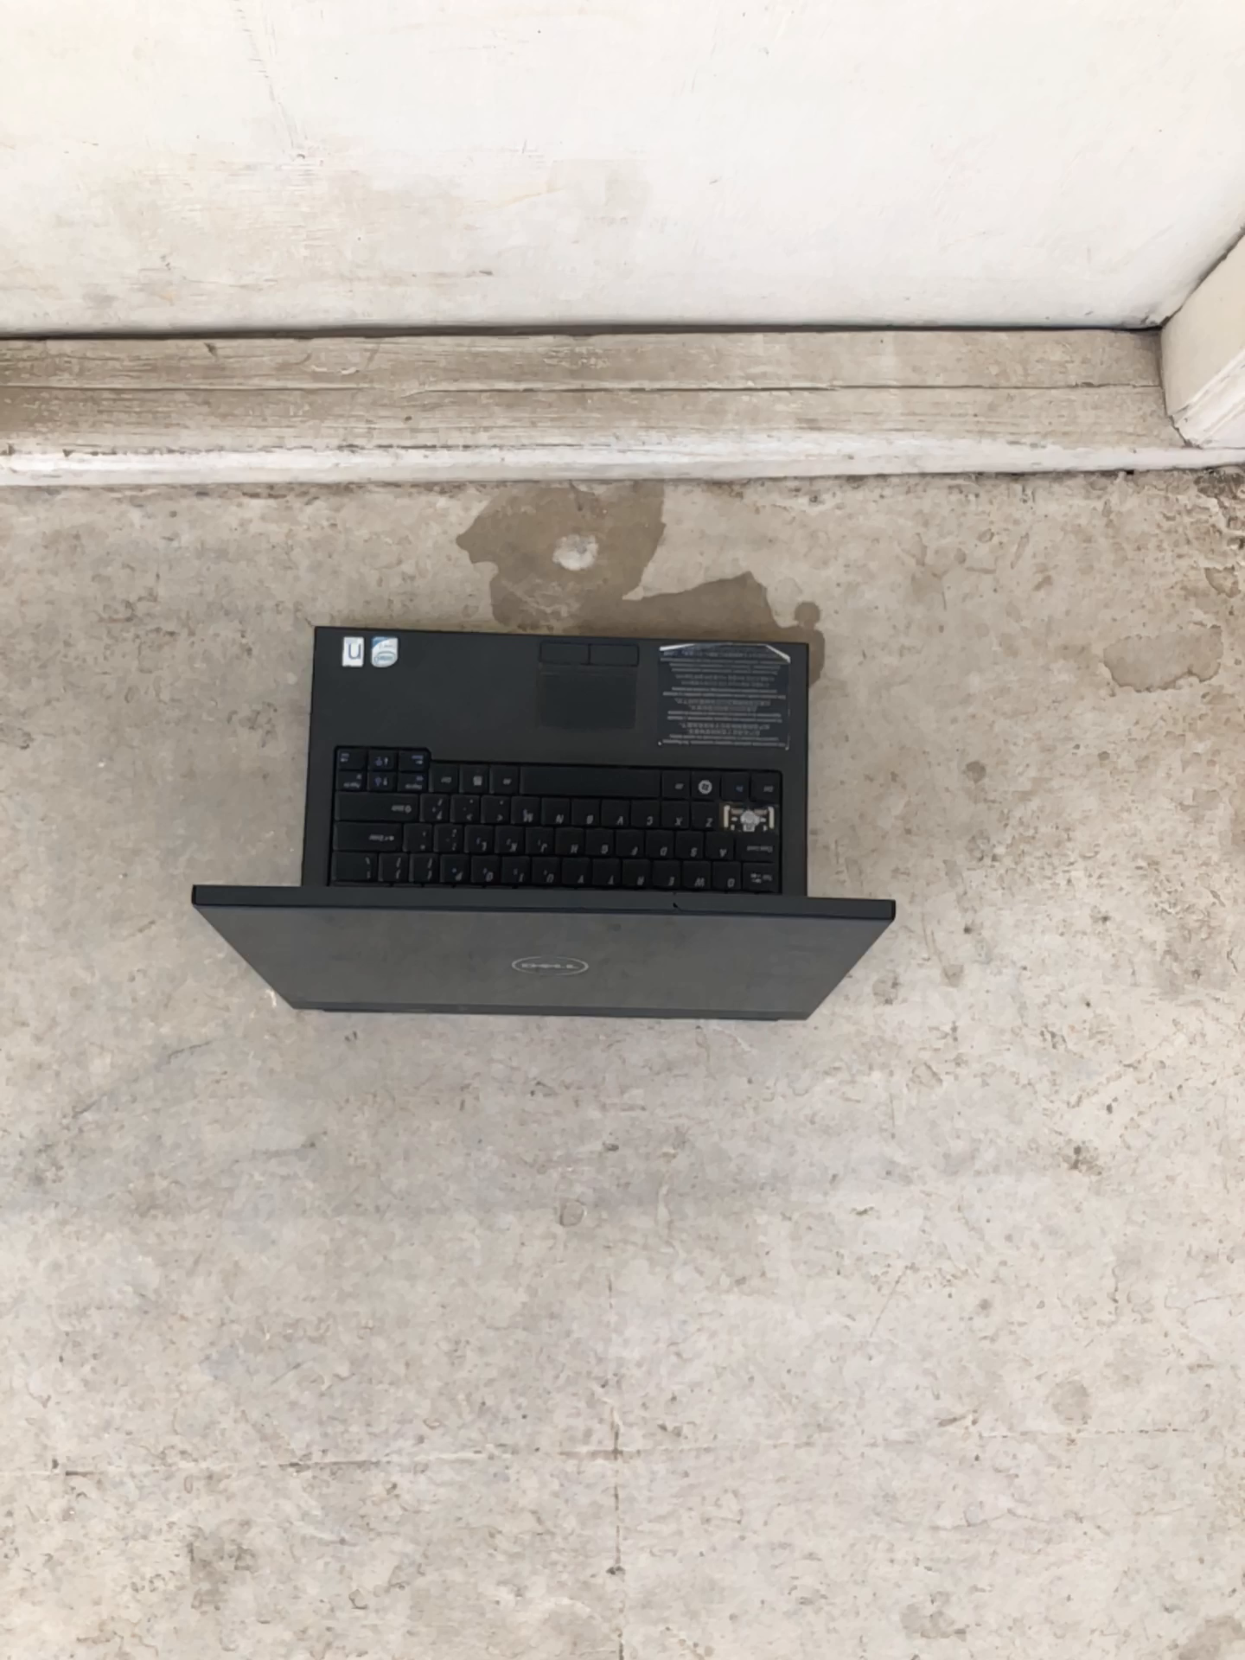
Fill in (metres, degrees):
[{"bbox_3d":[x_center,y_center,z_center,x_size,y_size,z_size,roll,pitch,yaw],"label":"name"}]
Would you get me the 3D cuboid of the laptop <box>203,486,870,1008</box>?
[{"bbox_3d":[-0.040,-0.023,0.726,0.279,0.253,0.224,2,84,-1],"label":"laptop"}]
